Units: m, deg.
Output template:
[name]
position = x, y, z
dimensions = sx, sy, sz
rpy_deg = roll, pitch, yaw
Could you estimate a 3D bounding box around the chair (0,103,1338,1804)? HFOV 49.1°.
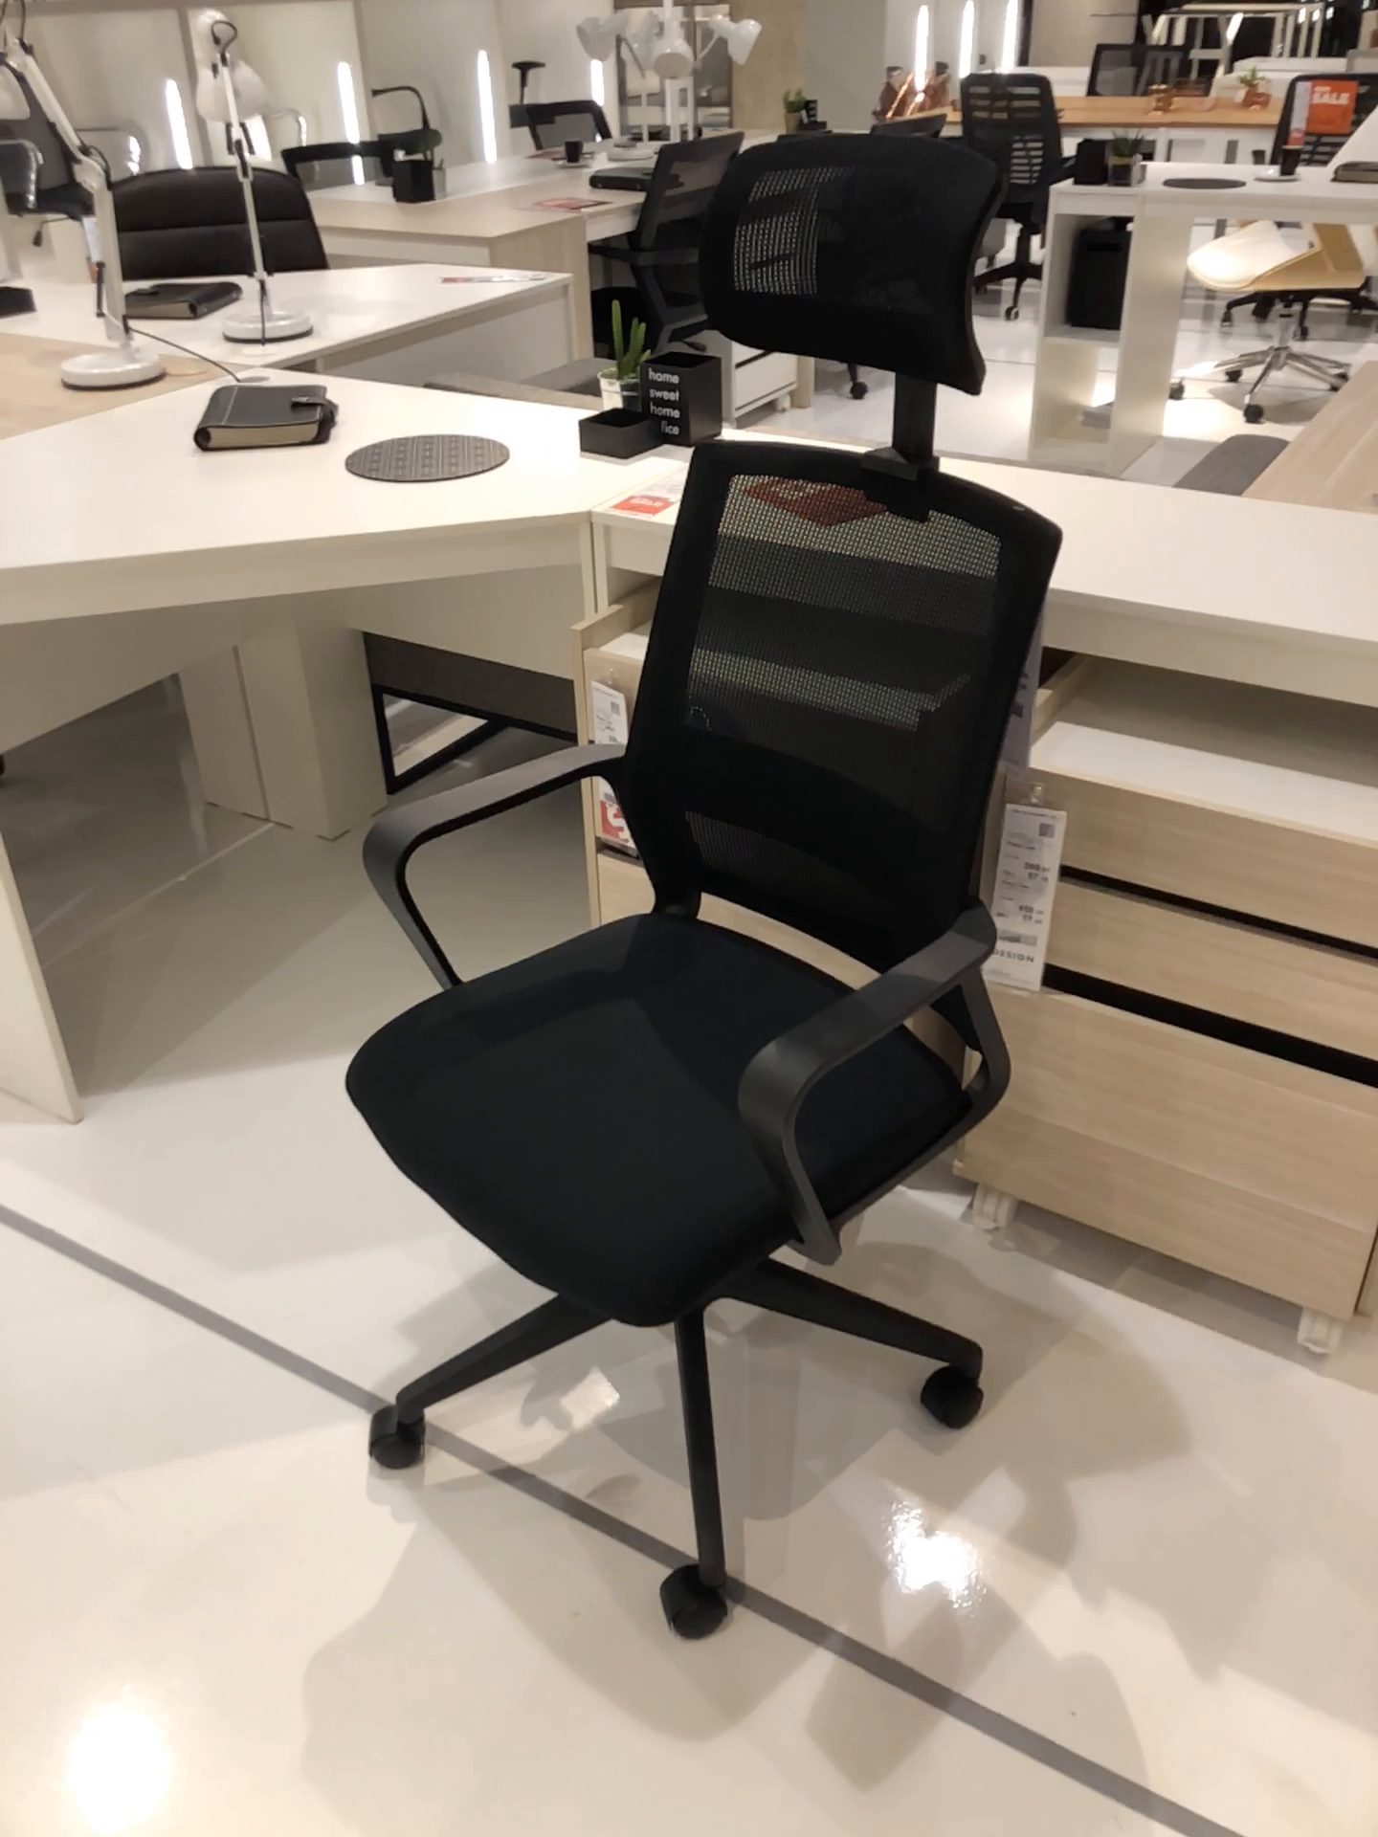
[chair]
position = -0.018, -0.029, 1.300
dimensions = 0.663, 1.131, 0.662
rpy_deg = -29, 40, -36
